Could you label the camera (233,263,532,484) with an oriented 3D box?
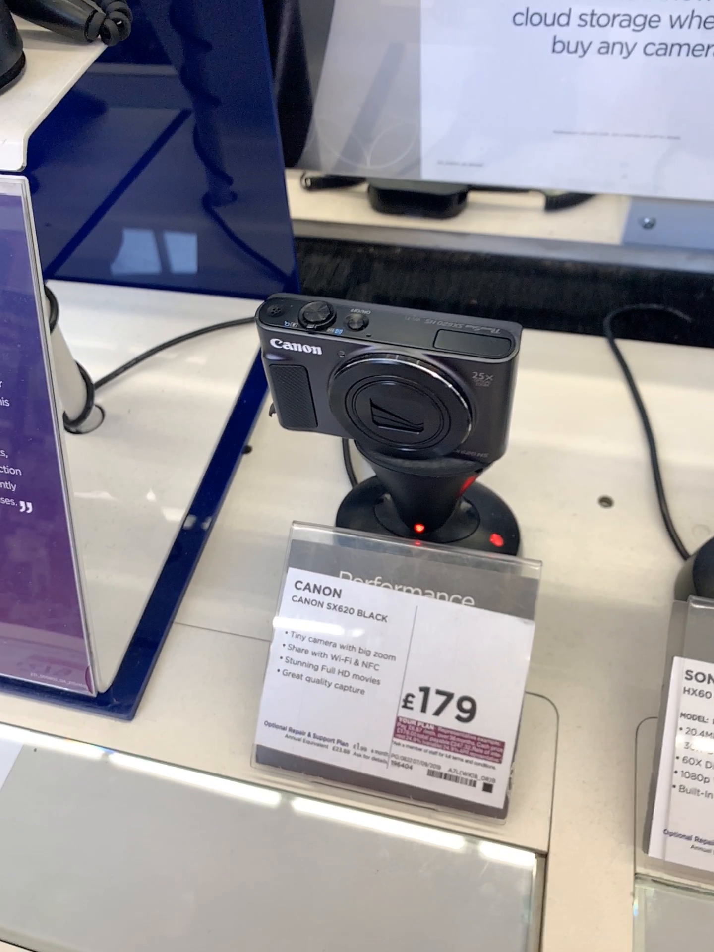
[{"bbox_3d":[0.010,-0.035,0.258,0.090,0.060,0.030,10,54,13],"label":"camera"}]
